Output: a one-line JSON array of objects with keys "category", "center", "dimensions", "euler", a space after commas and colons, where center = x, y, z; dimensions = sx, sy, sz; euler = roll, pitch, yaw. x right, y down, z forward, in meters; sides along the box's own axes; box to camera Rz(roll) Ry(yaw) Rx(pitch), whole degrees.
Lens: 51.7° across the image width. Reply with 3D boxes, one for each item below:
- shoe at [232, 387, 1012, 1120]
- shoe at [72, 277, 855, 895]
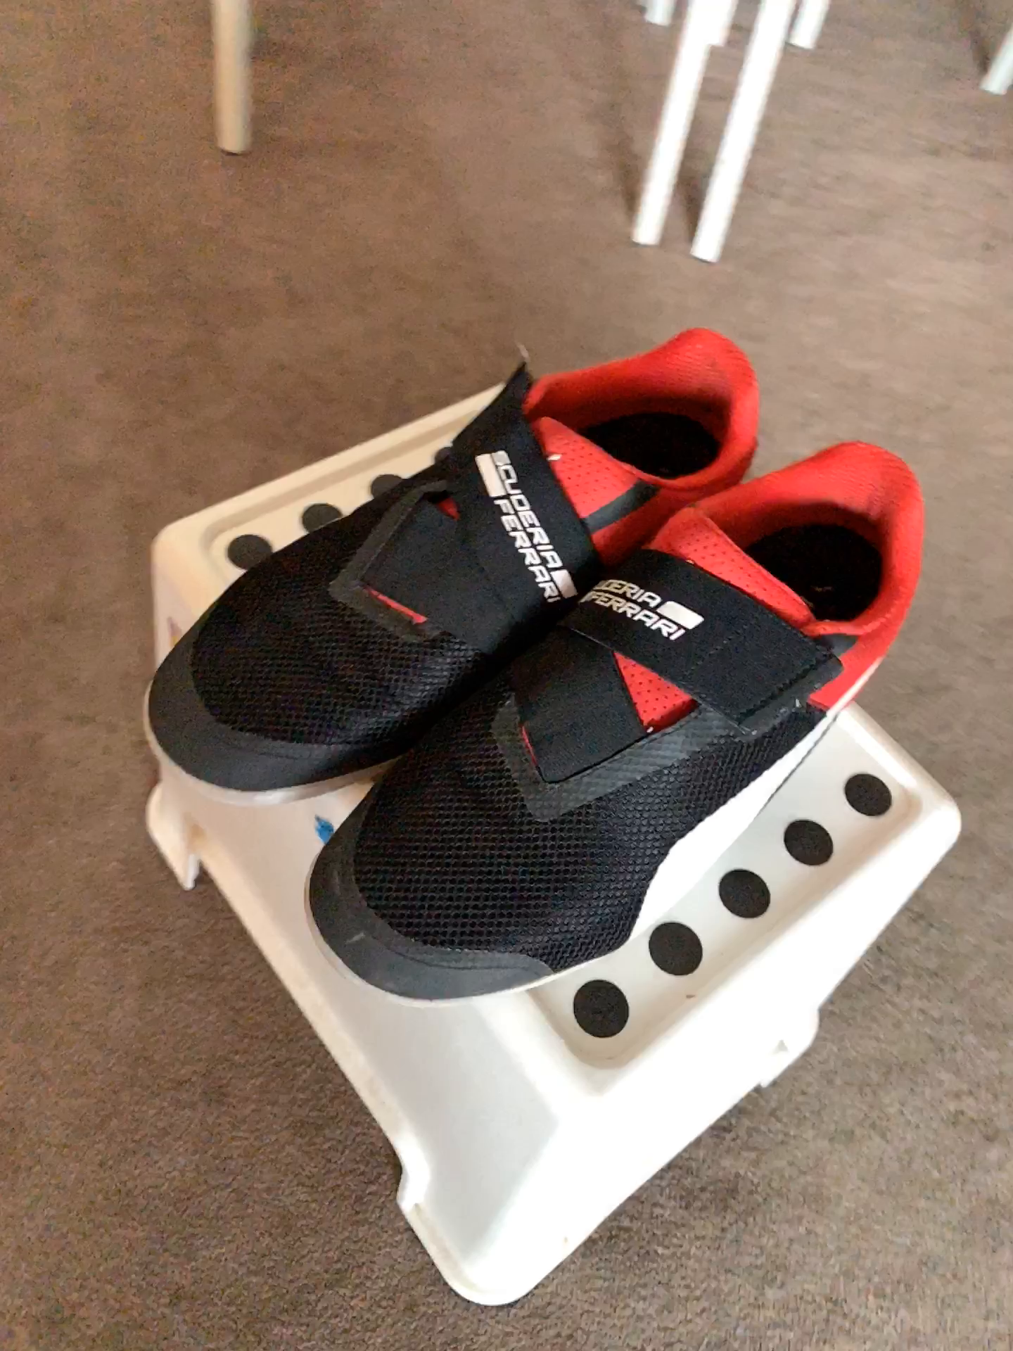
[{"category": "shoe", "center": [0.061, 0.015, 0.400], "dimensions": [0.301, 0.099, 0.110], "euler": [-32, 67, -25]}, {"category": "shoe", "center": [-0.005, -0.050, 0.439], "dimensions": [0.301, 0.099, 0.100], "euler": [-32, 67, -25]}]
